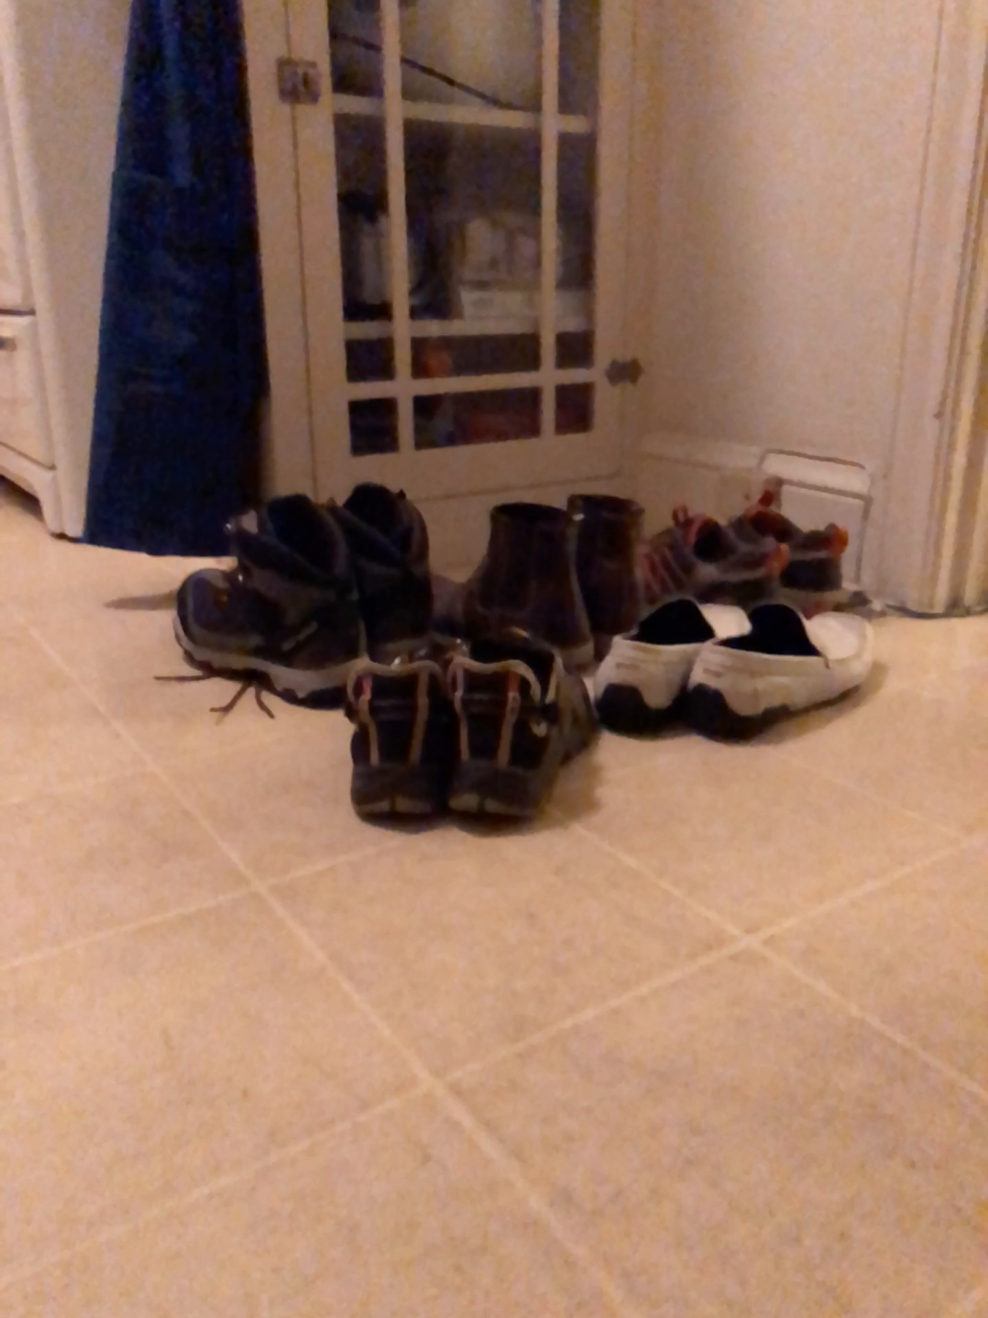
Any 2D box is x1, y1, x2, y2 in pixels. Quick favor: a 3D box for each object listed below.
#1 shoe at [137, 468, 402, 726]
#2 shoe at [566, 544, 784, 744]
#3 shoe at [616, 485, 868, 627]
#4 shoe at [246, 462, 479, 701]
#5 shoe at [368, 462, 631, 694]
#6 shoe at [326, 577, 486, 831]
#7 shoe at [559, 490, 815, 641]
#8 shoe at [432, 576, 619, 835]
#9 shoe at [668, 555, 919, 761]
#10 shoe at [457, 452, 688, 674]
[{"bbox_3d":[-0.242,-0.079,1.139,0.110,0.192,0.324,-16,24,-39],"label":"shoe"},{"bbox_3d":[0.194,-0.028,1.117,0.110,0.113,0.304,10,21,29],"label":"shoe"},{"bbox_3d":[0.308,-0.142,1.404,0.110,0.113,0.314,-13,23,-35],"label":"shoe"},{"bbox_3d":[-0.155,-0.101,1.225,0.110,0.192,0.324,-13,22,-33],"label":"shoe"},{"bbox_3d":[-0.004,-0.106,1.249,0.110,0.192,0.324,-15,24,-38],"label":"shoe"},{"bbox_3d":[-0.065,0.025,0.948,0.110,0.123,0.294,0,19,1],"label":"shoe"},{"bbox_3d":[0.224,-0.124,1.335,0.110,0.113,0.314,-13,23,-35],"label":"shoe"},{"bbox_3d":[0.038,0.026,0.955,0.110,0.123,0.294,4,19,11],"label":"shoe"},{"bbox_3d":[0.303,-0.013,1.078,0.110,0.113,0.304,15,24,38],"label":"shoe"},{"bbox_3d":[0.081,-0.129,1.309,0.110,0.192,0.324,-10,21,-28],"label":"shoe"}]
